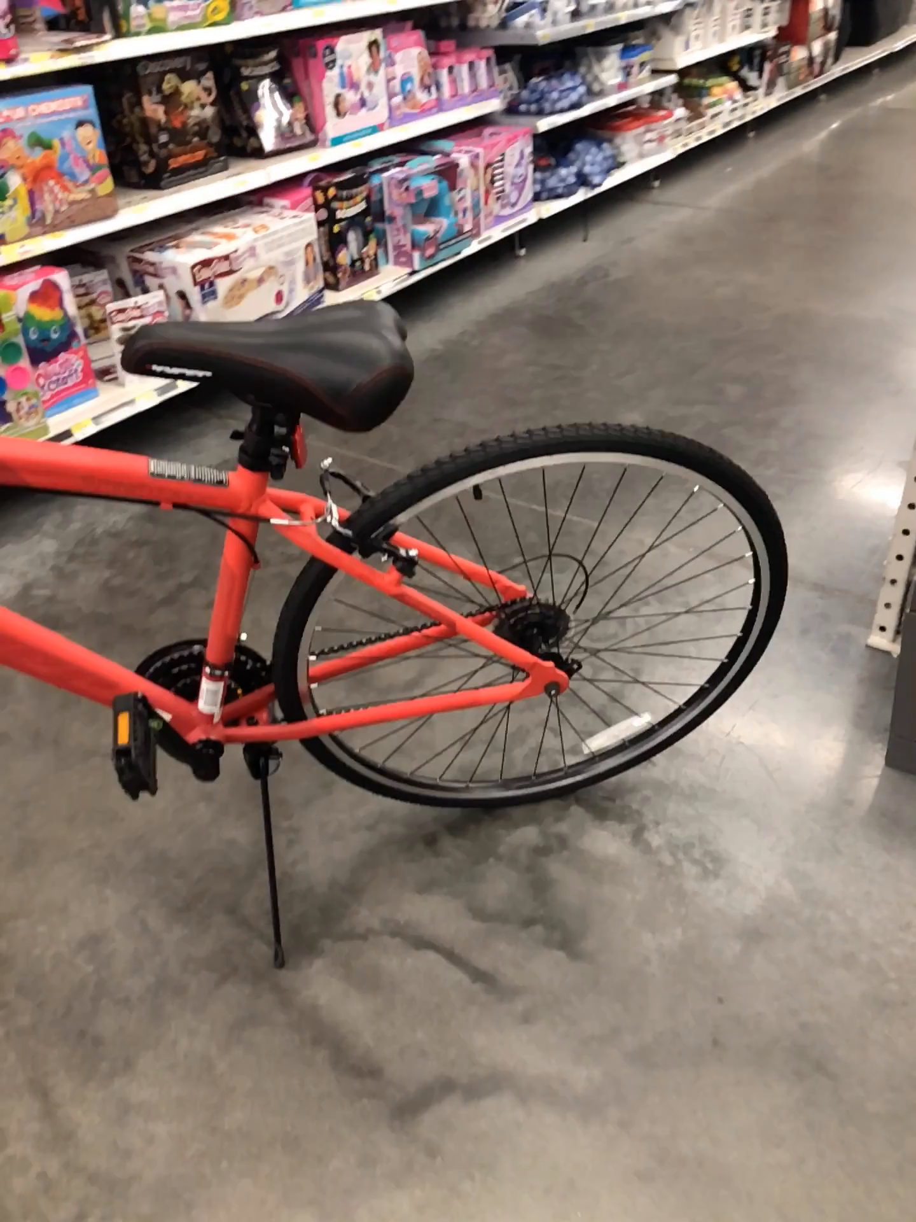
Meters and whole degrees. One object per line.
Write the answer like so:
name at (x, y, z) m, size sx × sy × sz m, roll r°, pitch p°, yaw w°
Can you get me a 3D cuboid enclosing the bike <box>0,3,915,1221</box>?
bike at (-0.415, 0.042, 1.089) m, size 1.686 × 1.000 × 0.617 m, roll -13°, pitch 36°, yaw -10°
